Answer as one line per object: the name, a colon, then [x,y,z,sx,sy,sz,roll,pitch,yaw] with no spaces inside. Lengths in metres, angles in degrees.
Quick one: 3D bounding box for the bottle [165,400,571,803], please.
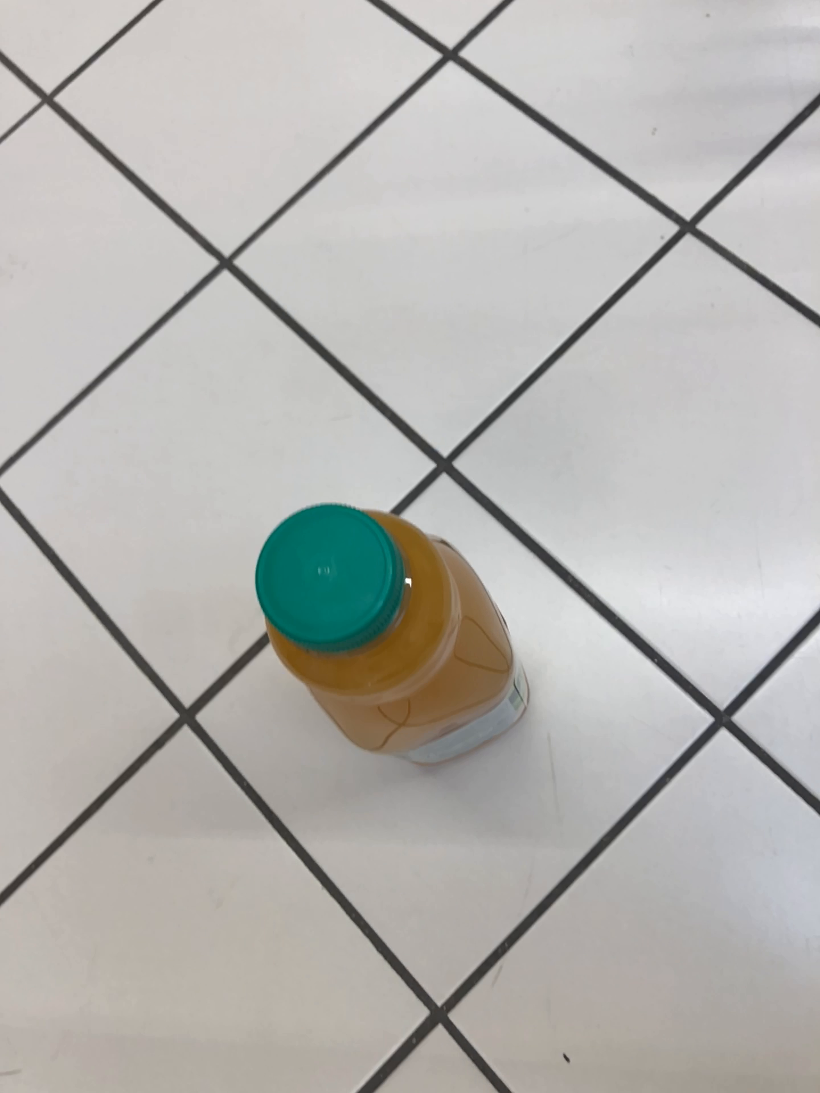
bottle: [0.005,0.045,0.363,0.090,0.240,0.080,-26,71,2]
